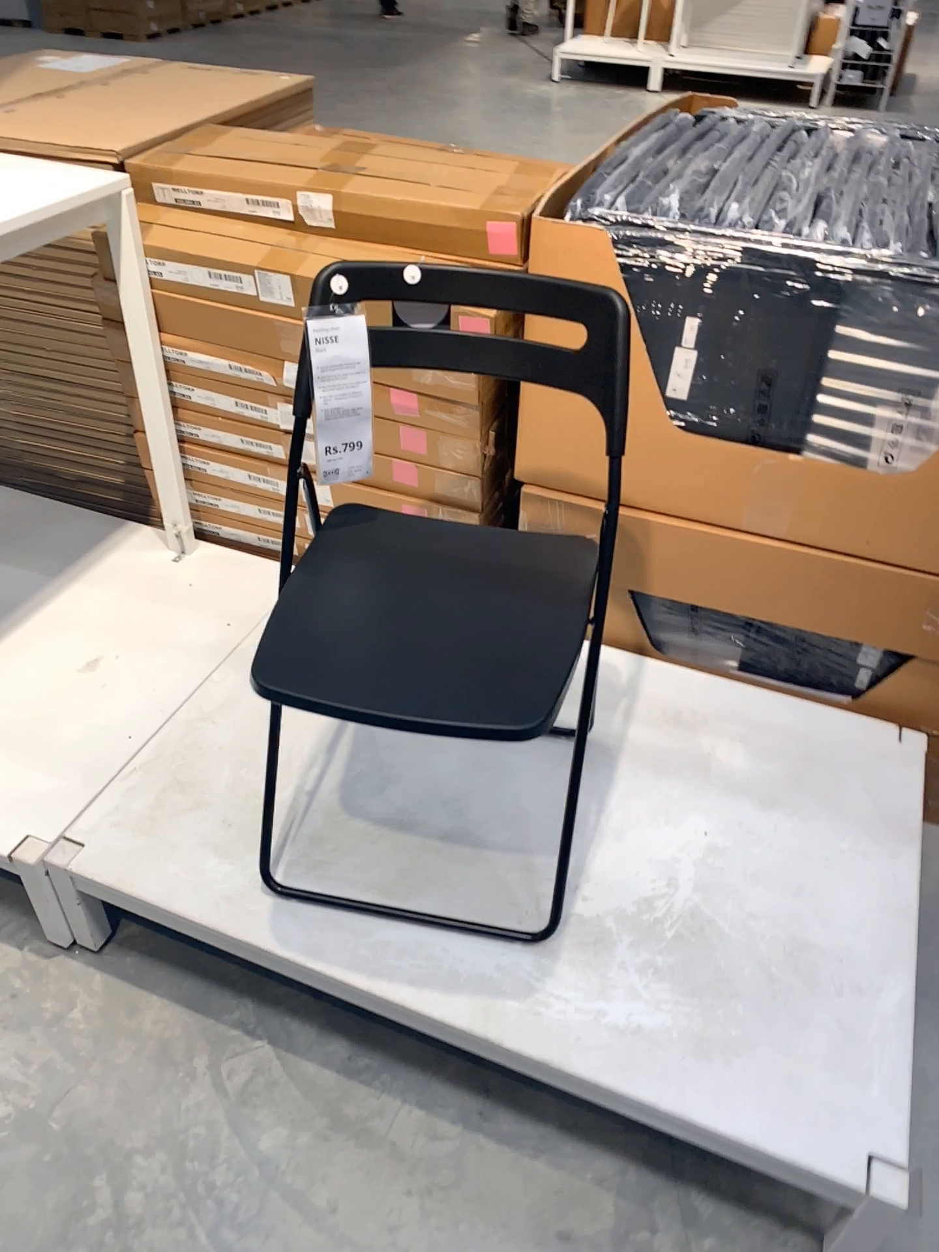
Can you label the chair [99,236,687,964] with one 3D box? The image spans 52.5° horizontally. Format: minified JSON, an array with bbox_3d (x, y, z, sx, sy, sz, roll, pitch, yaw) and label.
[{"bbox_3d":[-0.039,-0.031,1.122,0.460,0.657,0.452,9,39,8],"label":"chair"}]
